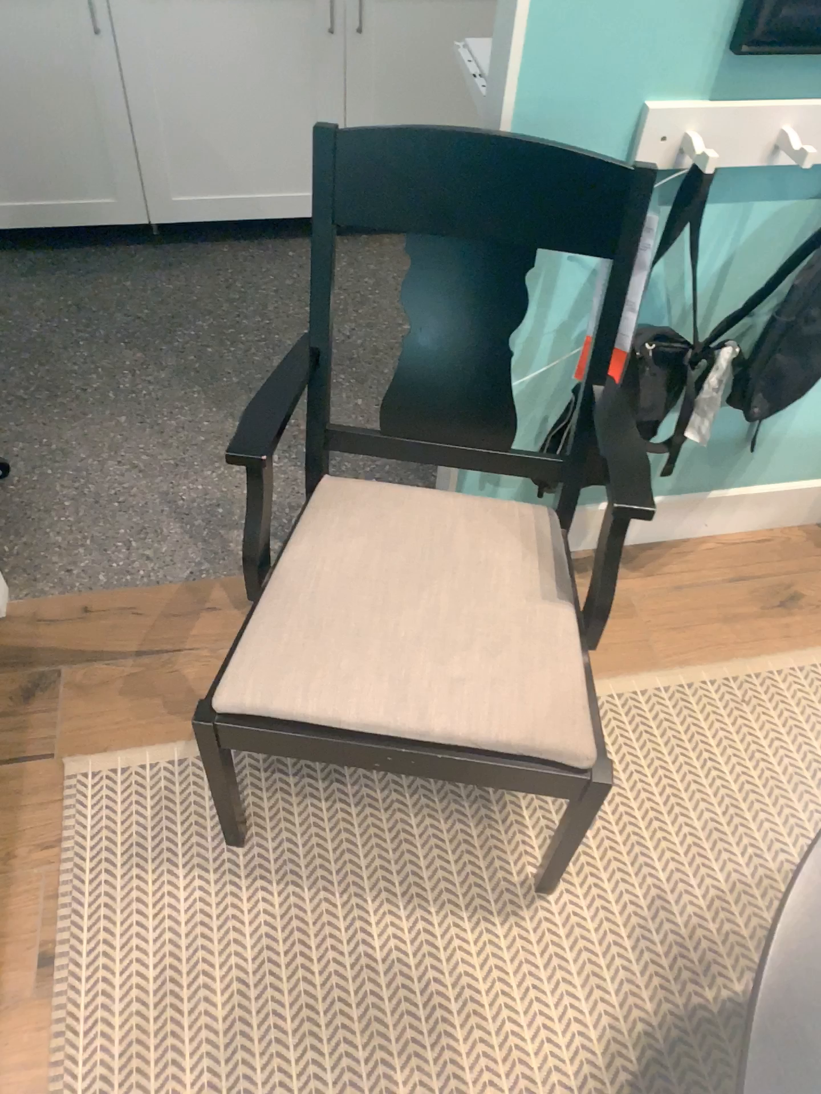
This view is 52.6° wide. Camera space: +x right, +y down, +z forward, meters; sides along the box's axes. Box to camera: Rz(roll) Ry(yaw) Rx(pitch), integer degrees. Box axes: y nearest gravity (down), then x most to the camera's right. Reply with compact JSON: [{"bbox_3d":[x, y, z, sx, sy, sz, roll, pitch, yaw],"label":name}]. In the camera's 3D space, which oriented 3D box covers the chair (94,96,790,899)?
[{"bbox_3d":[0.045,-0.041,1.313,0.600,0.897,0.803,8,50,2],"label":"chair"}]
